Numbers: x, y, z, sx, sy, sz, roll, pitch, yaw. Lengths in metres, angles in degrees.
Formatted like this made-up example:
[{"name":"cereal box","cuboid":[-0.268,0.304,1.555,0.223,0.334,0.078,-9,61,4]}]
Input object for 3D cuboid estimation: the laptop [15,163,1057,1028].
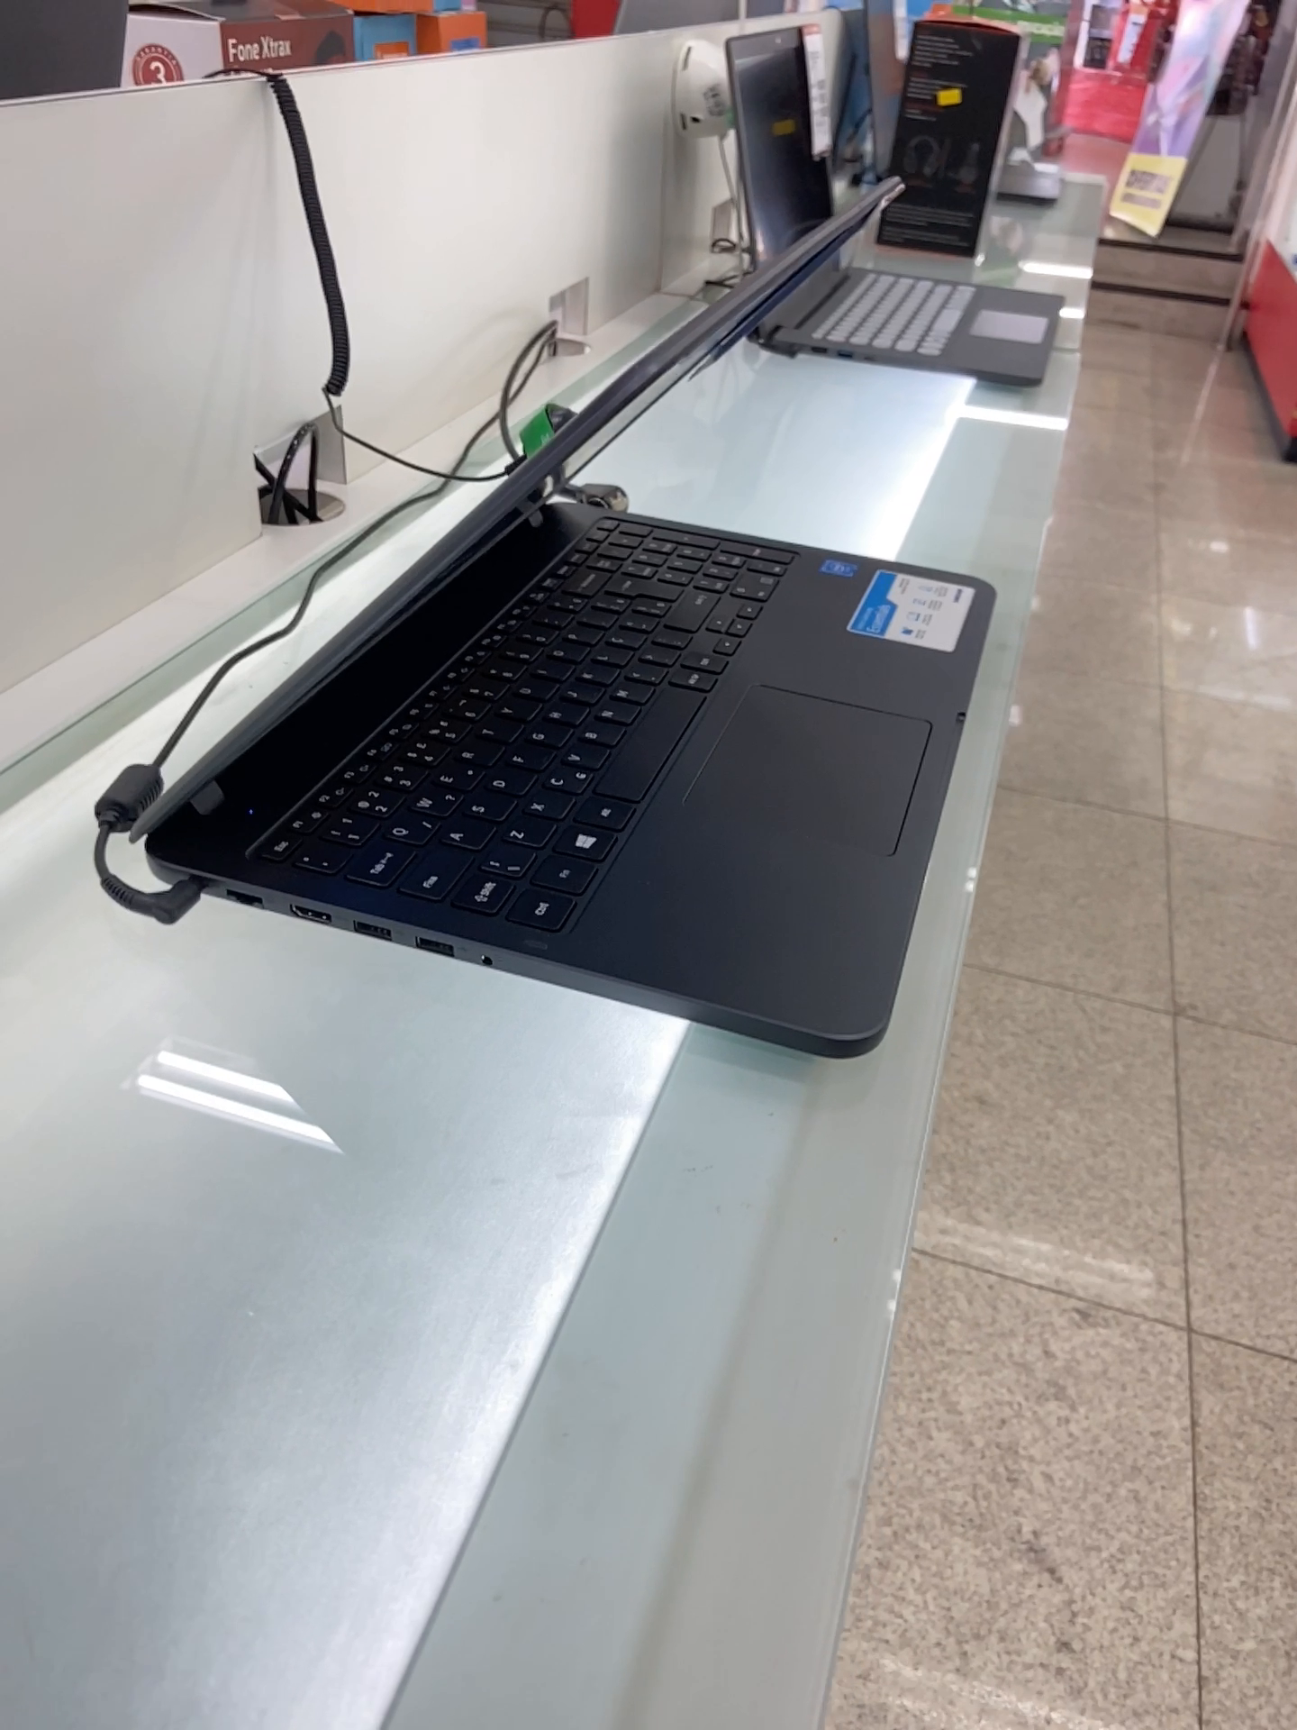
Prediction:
[{"name":"laptop","cuboid":[0.004,-0.146,0.515,0.245,0.173,0.374,13,34,12]}]
